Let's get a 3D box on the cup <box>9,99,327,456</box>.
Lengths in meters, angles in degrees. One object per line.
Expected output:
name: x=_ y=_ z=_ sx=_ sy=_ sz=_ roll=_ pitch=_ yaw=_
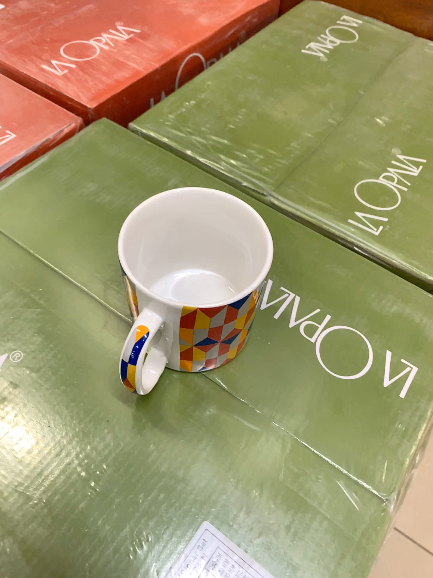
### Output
cup: x=-0.013 y=-0.007 z=0.232 sx=0.090 sy=0.100 sz=0.130 roll=18 pitch=55 yaw=9
